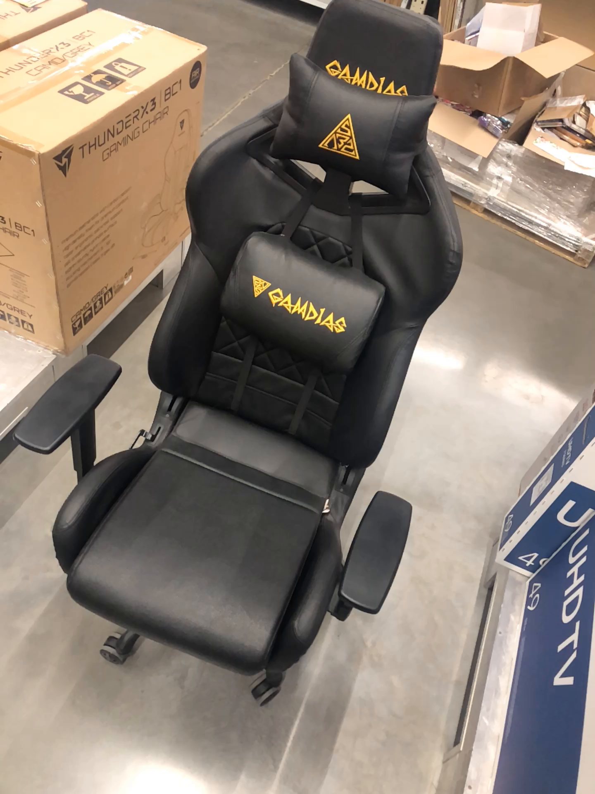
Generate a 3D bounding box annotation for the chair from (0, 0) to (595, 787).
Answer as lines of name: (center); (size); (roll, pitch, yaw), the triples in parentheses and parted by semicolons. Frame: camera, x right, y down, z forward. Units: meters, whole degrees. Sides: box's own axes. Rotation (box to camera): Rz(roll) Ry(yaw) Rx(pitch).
chair: (-0.085, 0.042, 1.260); (0.740, 1.282, 0.785); (22, 48, 6)
